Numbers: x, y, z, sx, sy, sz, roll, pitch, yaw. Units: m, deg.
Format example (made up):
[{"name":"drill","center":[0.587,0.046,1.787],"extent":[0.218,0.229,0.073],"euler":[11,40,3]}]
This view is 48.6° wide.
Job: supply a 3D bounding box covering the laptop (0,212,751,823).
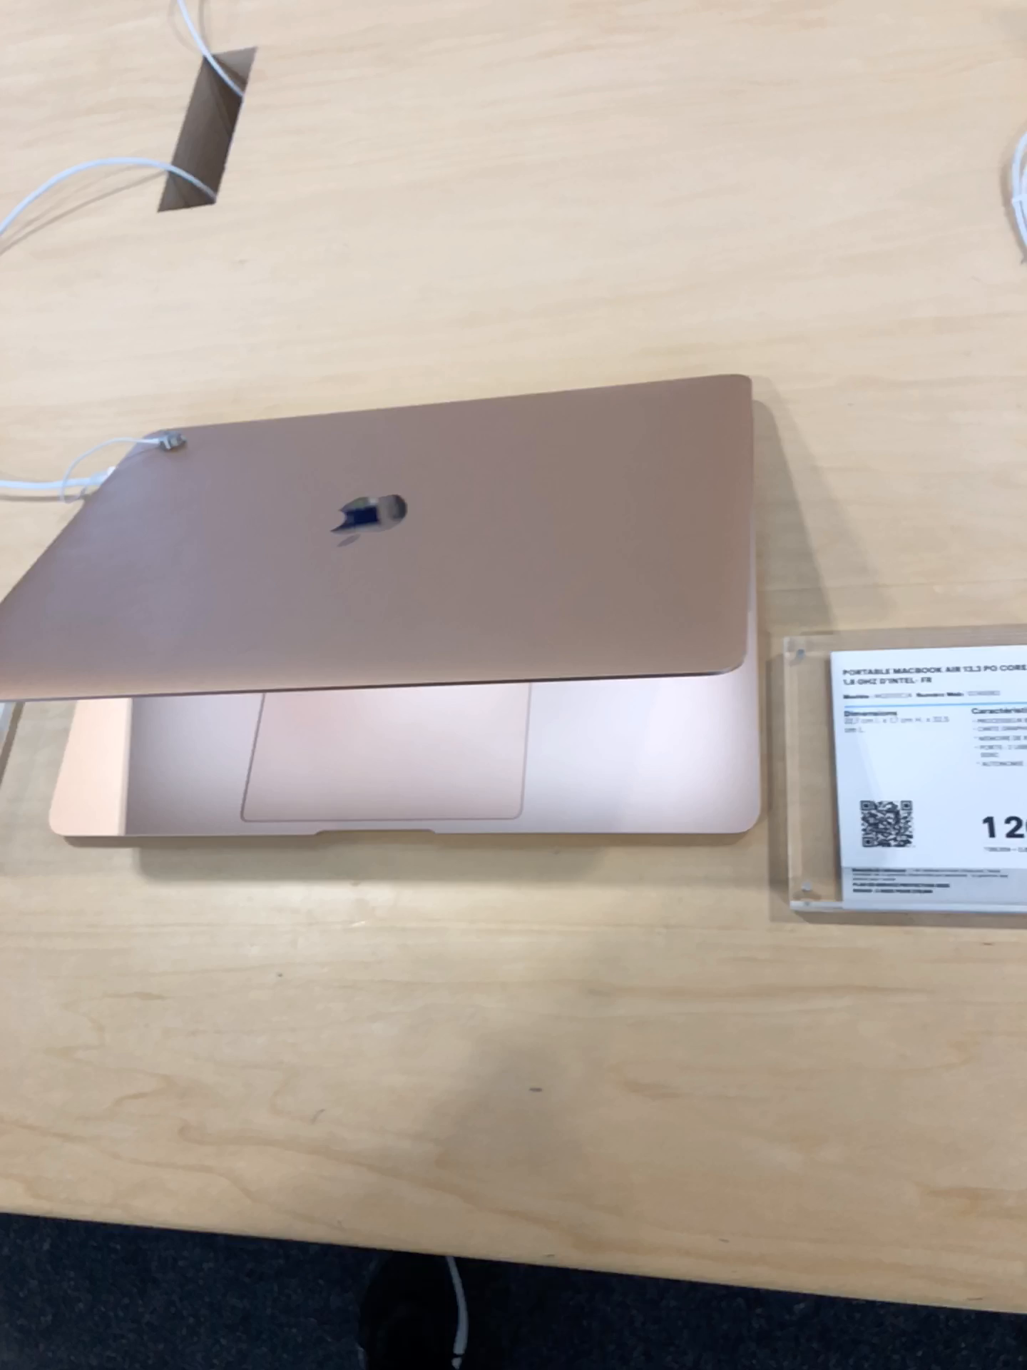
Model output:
[{"name":"laptop","center":[-0.056,-0.058,0.453],"extent":[0.288,0.093,0.203],"euler":[-2,63,14]}]
